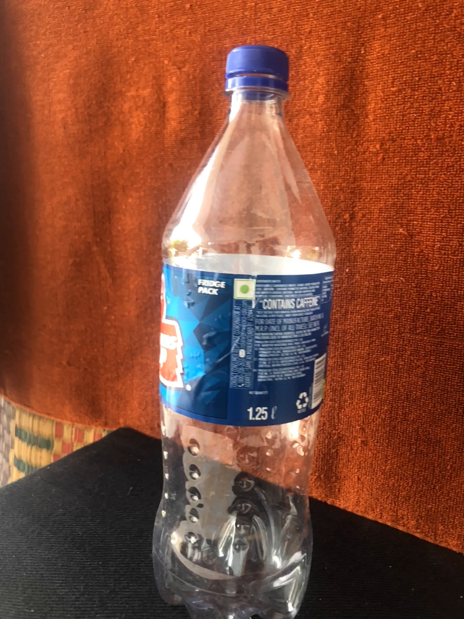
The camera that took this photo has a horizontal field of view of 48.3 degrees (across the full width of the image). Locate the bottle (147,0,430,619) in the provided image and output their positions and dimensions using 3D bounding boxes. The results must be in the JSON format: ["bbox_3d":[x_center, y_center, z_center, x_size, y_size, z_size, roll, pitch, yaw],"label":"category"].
[{"bbox_3d":[0.009,0.010,0.253,0.090,0.289,0.100,-1,14,-14],"label":"bottle"}]
